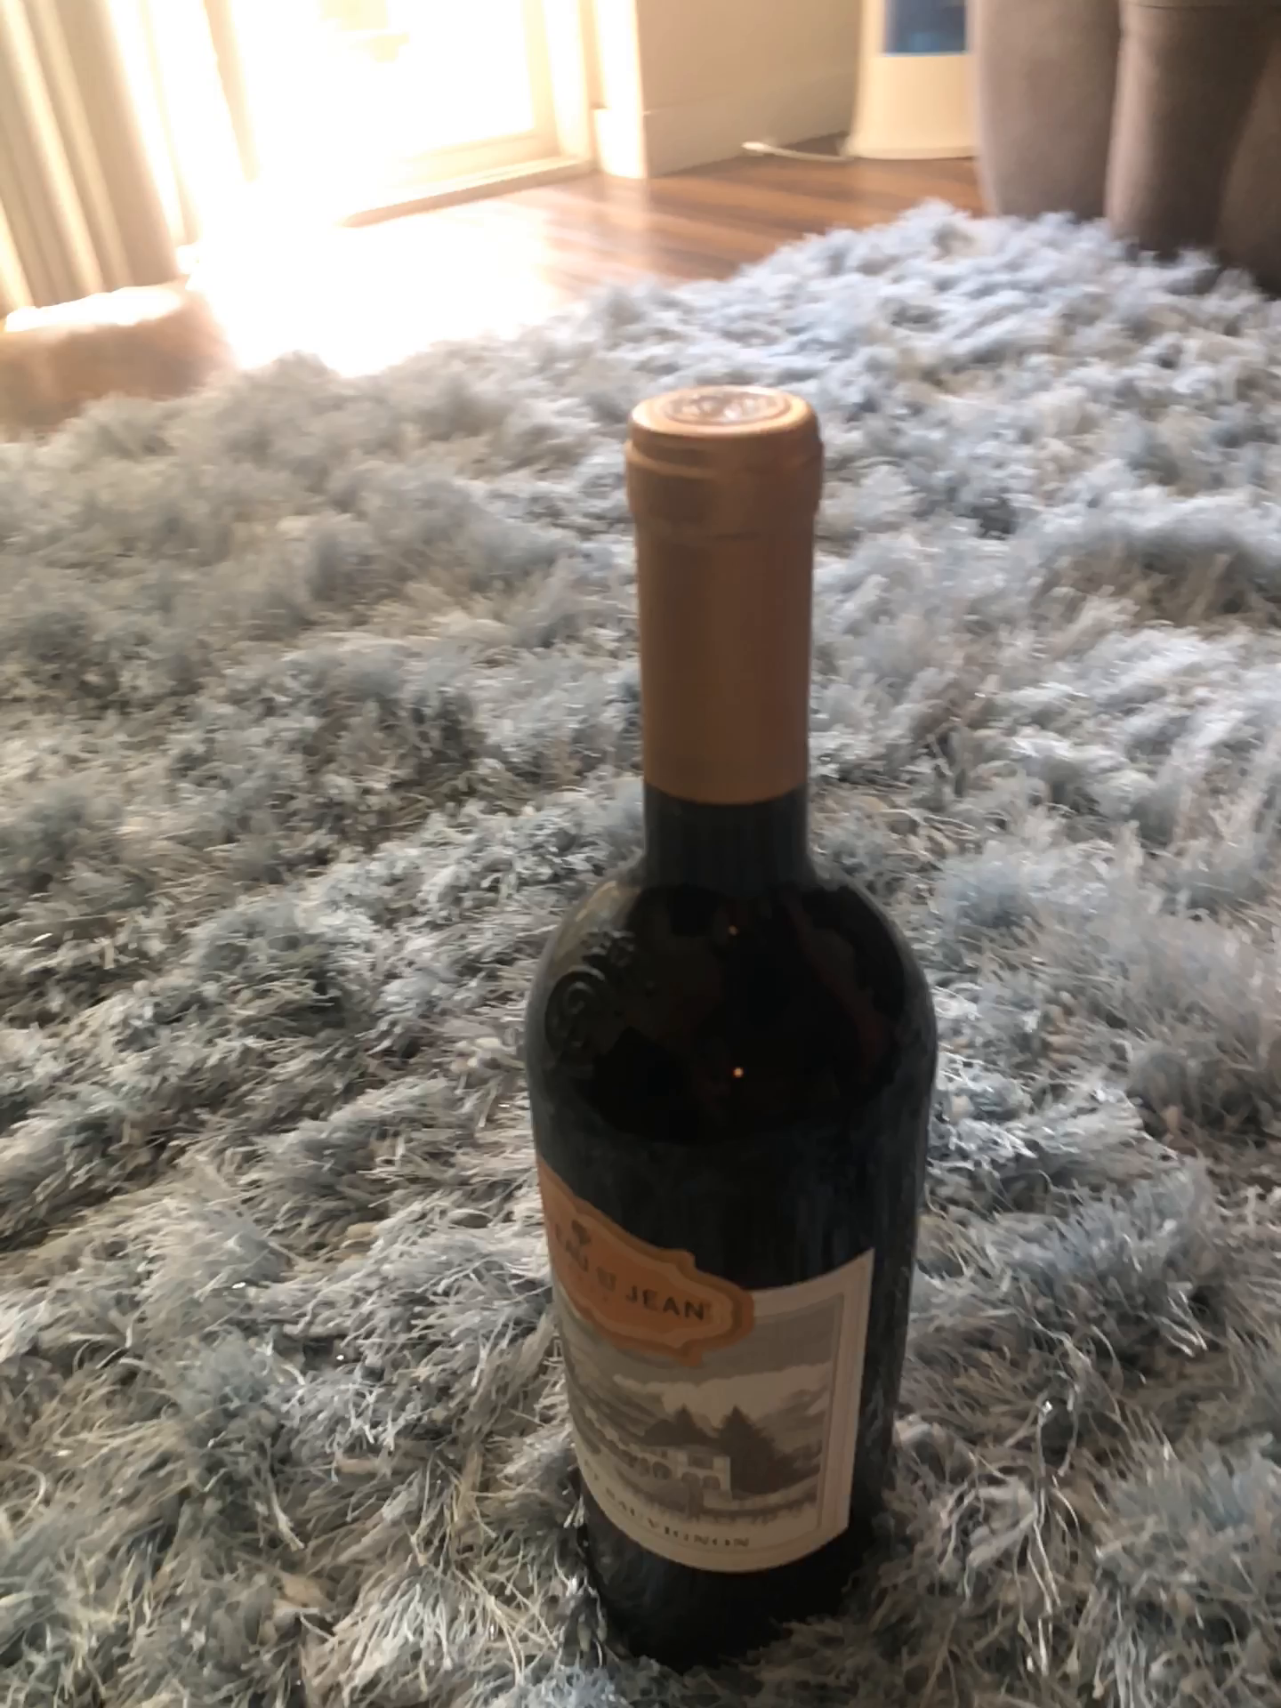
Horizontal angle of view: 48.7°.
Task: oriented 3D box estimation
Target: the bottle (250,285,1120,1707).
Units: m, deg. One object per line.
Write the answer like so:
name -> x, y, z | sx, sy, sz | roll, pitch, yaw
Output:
bottle -> 0.019, 0.055, 0.290 | 0.090, 0.298, 0.090 | -4, 34, 3
